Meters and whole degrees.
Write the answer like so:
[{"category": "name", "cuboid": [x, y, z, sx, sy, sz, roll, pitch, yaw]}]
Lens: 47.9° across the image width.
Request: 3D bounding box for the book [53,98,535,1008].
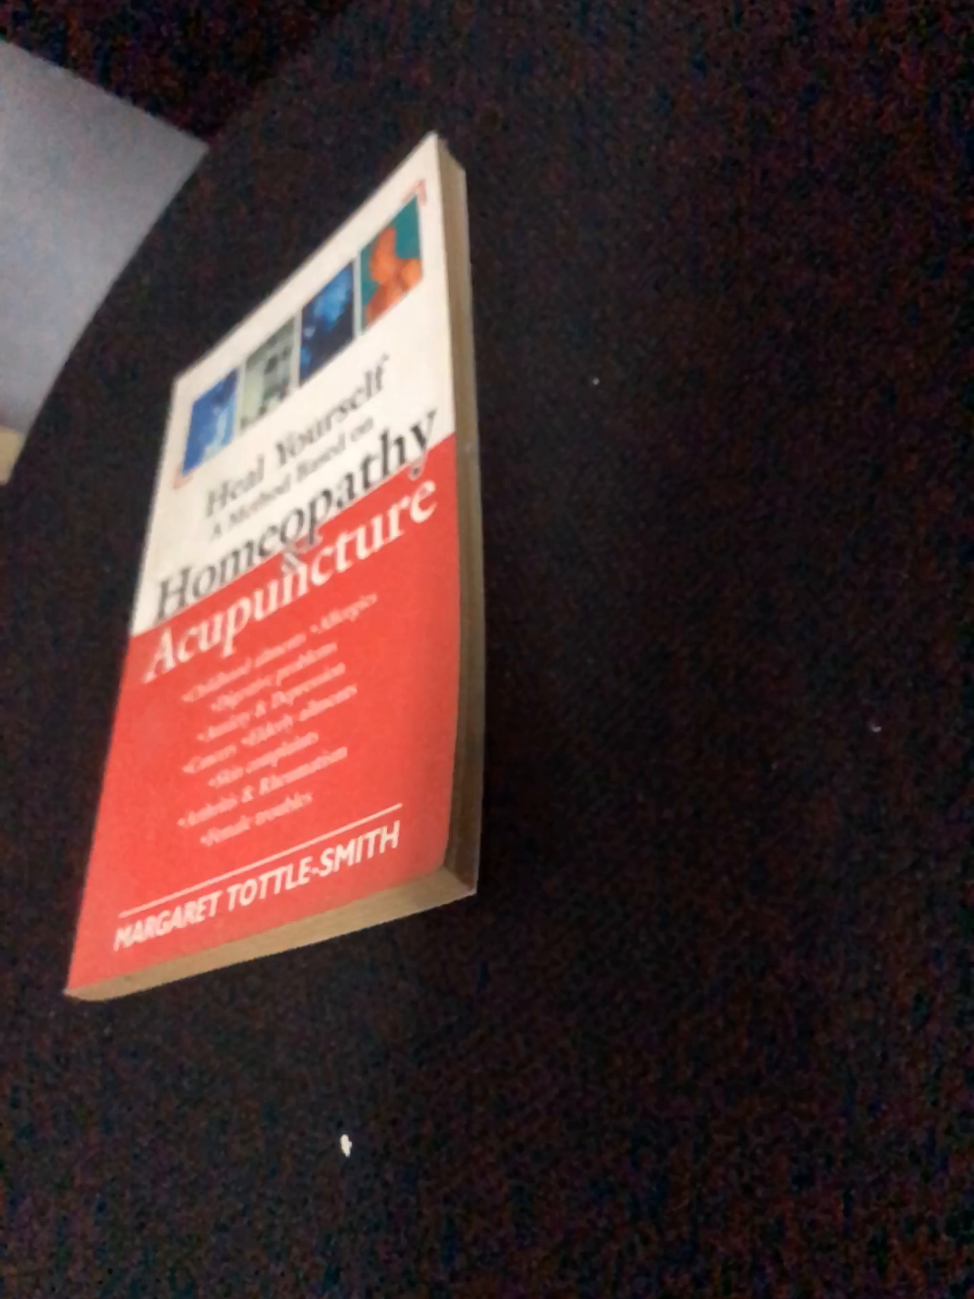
[{"category": "book", "cuboid": [-0.052, -0.028, 0.300, 0.150, 0.020, 0.220, -25, 52, 37]}]
